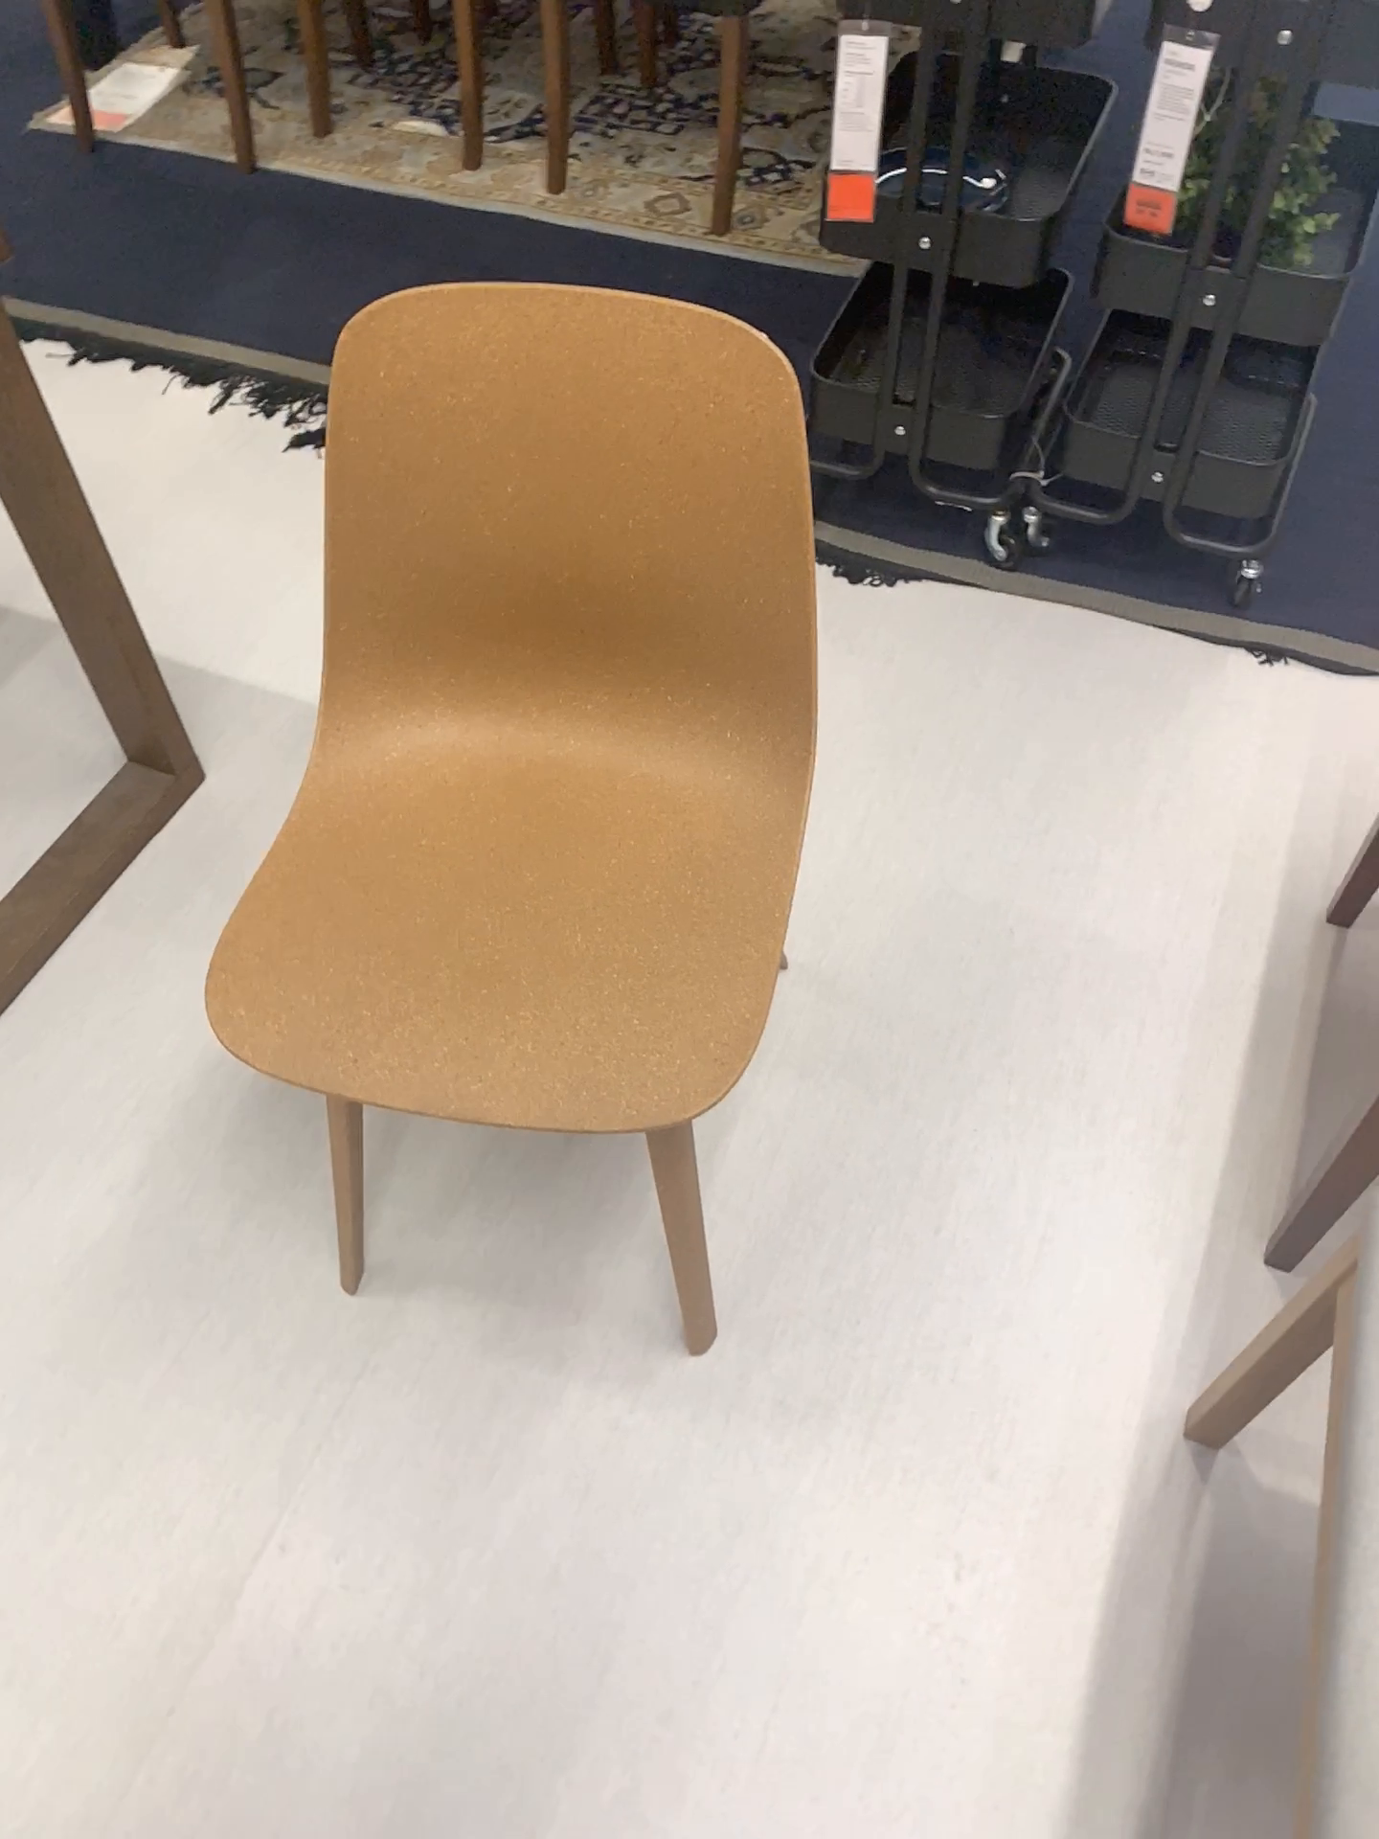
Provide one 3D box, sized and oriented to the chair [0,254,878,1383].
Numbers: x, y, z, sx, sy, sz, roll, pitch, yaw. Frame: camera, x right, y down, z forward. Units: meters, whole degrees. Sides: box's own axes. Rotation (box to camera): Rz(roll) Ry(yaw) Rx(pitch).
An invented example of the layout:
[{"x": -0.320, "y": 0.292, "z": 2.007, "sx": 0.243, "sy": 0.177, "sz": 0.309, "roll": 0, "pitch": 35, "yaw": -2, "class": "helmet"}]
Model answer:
[{"x": -0.127, "y": -0.041, "z": 1.143, "sx": 0.440, "sy": 0.718, "sz": 0.521, "roll": 8, "pitch": 53, "yaw": 8, "class": "chair"}]
